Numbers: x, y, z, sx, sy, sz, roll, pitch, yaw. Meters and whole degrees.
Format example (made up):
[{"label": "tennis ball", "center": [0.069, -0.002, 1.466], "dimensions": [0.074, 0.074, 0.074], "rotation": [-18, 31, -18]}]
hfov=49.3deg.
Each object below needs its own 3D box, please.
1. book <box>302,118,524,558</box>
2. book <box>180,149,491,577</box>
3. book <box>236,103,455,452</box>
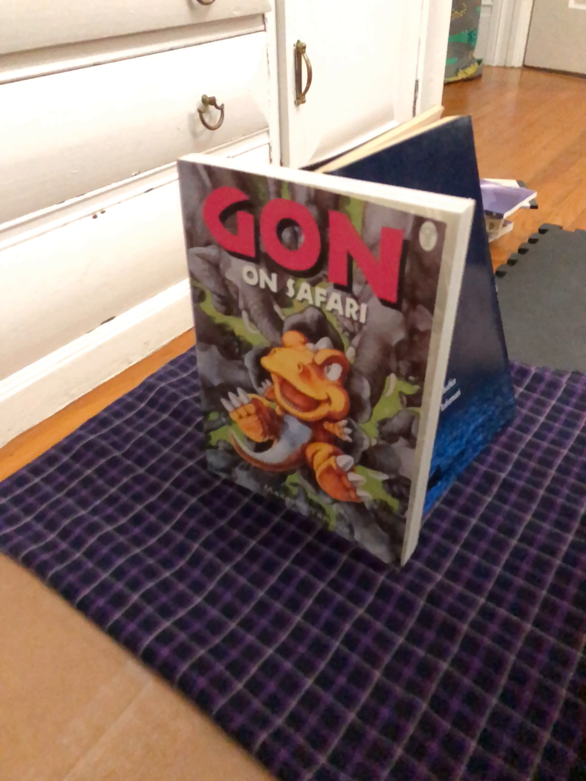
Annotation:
[{"label": "book", "center": [0.081, -0.034, 0.359], "dimensions": [0.010, 0.199, 0.151], "rotation": [2, 29, 42]}, {"label": "book", "center": [0.009, -0.011, 0.319], "dimensions": [0.140, 0.189, 0.020], "rotation": [19, 34, 27]}, {"label": "book", "center": [0.028, -0.064, 0.398], "dimensions": [0.010, 0.199, 0.141], "rotation": [34, 47, 14]}]
